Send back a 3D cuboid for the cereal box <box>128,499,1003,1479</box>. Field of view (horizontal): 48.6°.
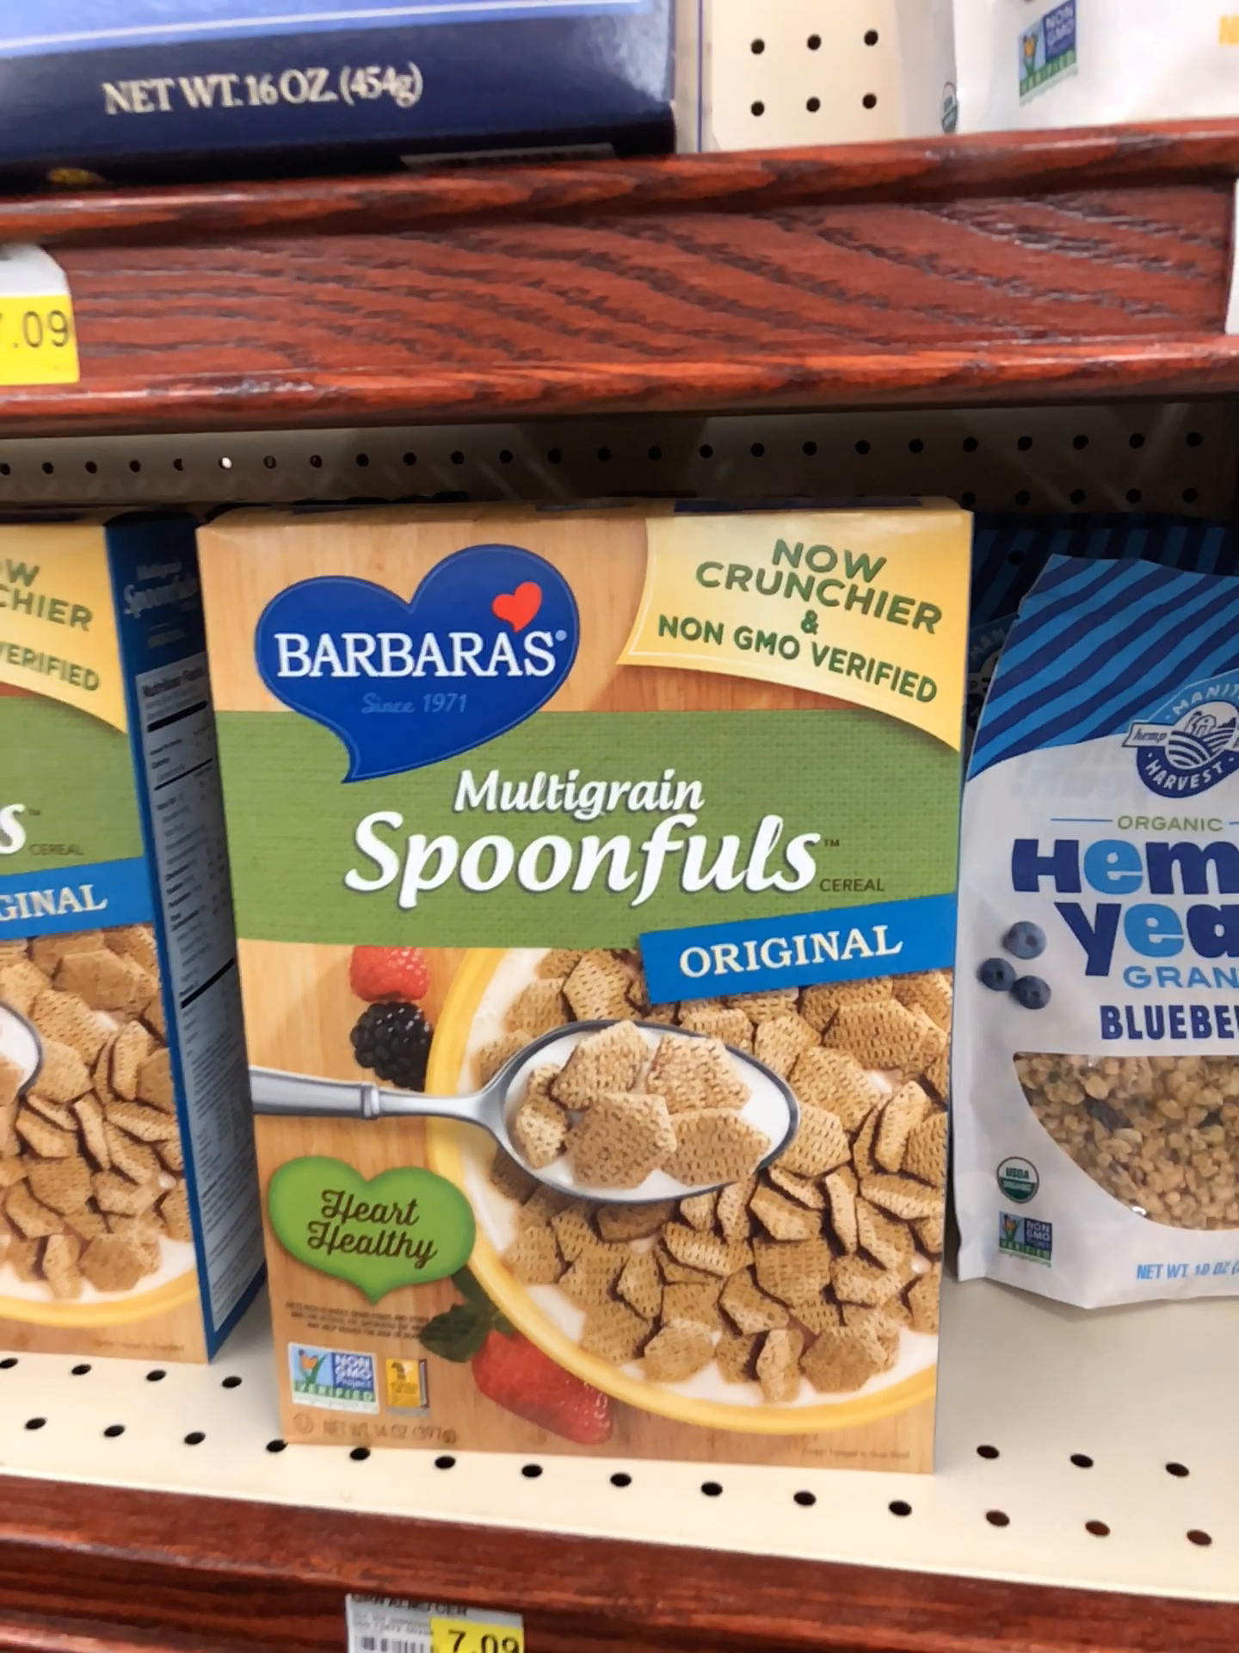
[{"bbox_3d":[-0.009,0.043,0.369,0.200,0.250,0.060,0,14,5],"label":"cereal box"}]
